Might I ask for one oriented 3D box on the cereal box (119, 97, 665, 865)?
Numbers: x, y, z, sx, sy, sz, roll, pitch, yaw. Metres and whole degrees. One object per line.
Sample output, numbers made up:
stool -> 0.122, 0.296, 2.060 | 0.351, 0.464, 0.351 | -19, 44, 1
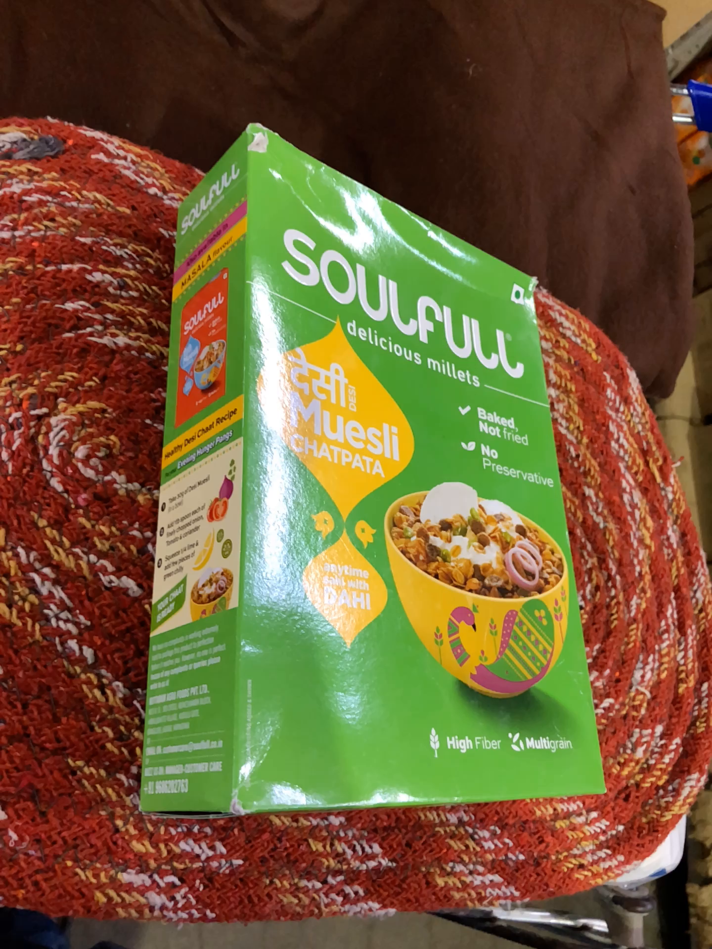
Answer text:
cereal box -> 0.013, 0.005, 0.296 | 0.170, 0.060, 0.241 | 15, 59, -35
